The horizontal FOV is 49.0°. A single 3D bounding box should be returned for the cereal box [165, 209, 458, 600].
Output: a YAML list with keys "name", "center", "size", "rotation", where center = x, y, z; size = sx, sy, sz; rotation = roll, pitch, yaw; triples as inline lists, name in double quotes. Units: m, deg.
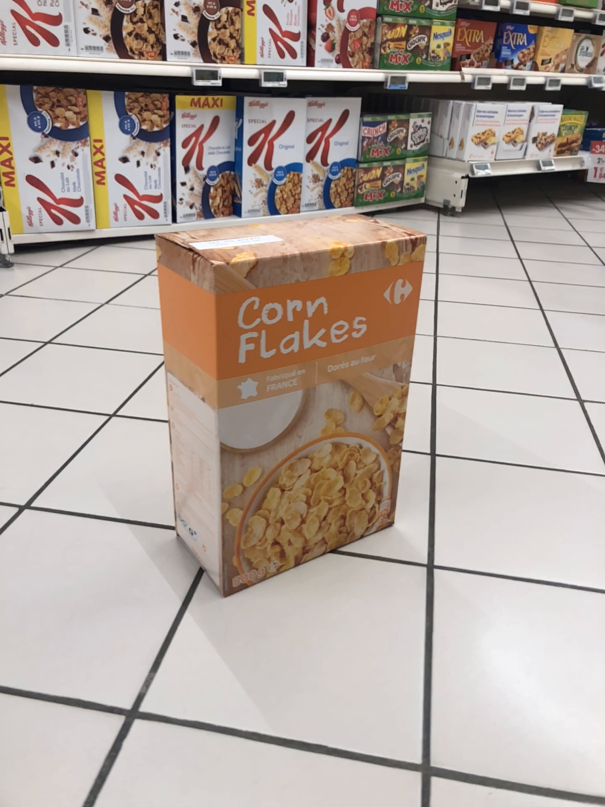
- name: "cereal box"
  center: [0.005, -0.009, 0.574]
  size: [0.201, 0.278, 0.110]
  rotation: [-15, 31, -32]
